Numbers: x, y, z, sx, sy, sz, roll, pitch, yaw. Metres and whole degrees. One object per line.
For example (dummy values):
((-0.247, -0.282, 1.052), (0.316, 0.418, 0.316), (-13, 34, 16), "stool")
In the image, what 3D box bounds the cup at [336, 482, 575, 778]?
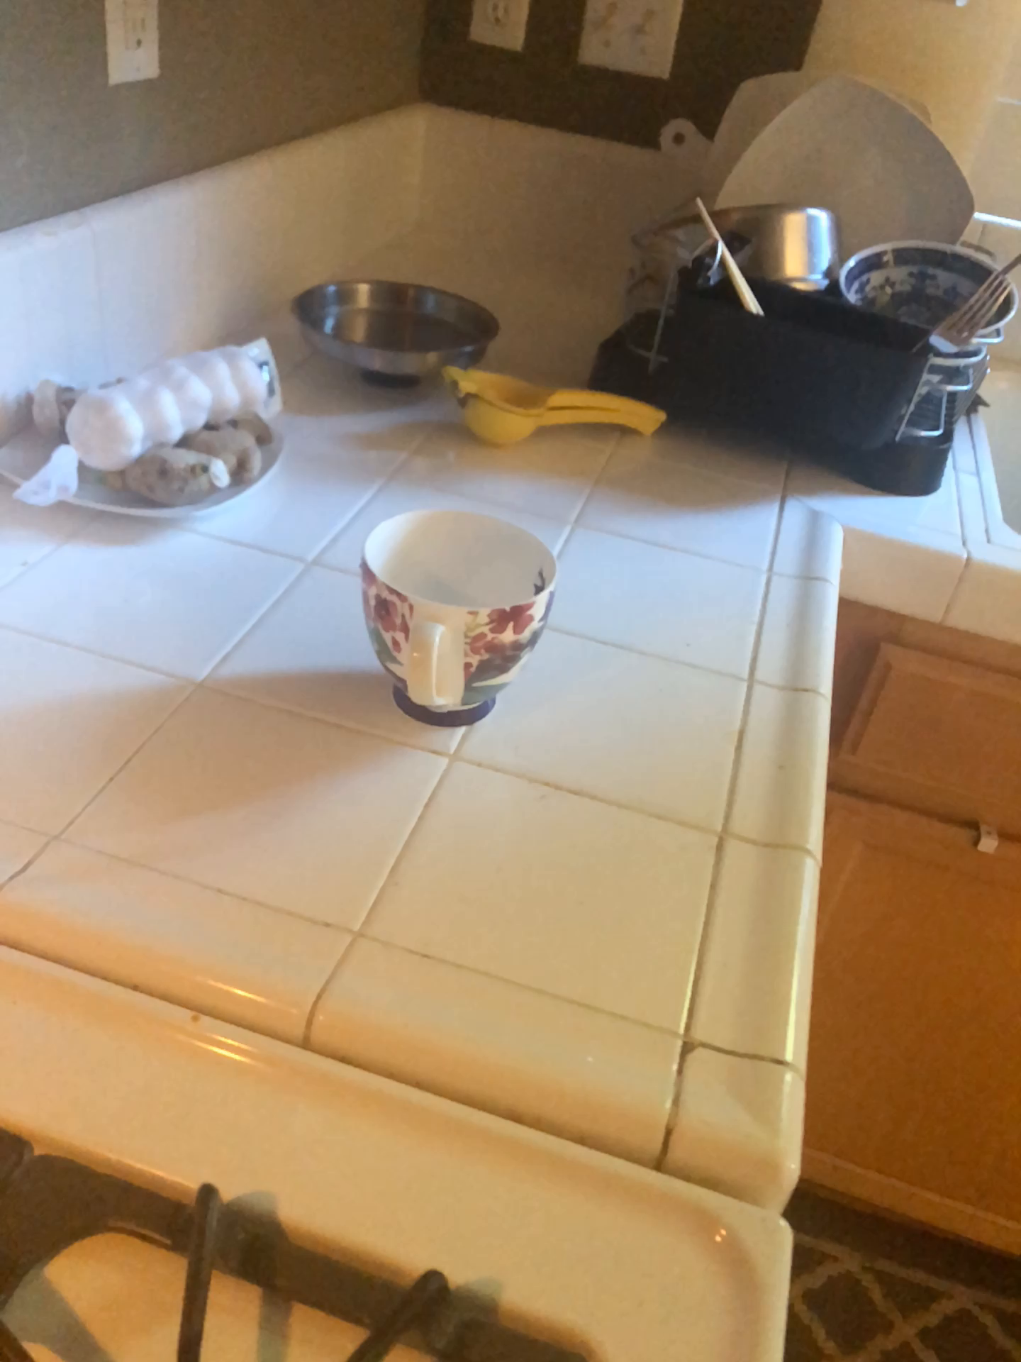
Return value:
((-0.028, -0.033, 0.618), (0.110, 0.079, 0.151), (7, 35, -4), "cup")
